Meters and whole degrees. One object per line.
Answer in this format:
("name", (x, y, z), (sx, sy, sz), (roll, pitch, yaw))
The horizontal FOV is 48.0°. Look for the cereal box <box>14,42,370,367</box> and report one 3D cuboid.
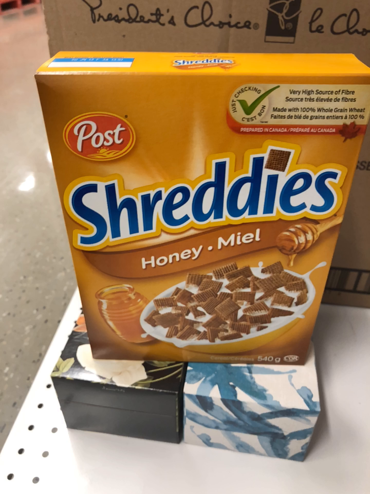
("cereal box", (0.014, -0.015, 0.332), (0.220, 0.259, 0.060), (1, 36, 1))
